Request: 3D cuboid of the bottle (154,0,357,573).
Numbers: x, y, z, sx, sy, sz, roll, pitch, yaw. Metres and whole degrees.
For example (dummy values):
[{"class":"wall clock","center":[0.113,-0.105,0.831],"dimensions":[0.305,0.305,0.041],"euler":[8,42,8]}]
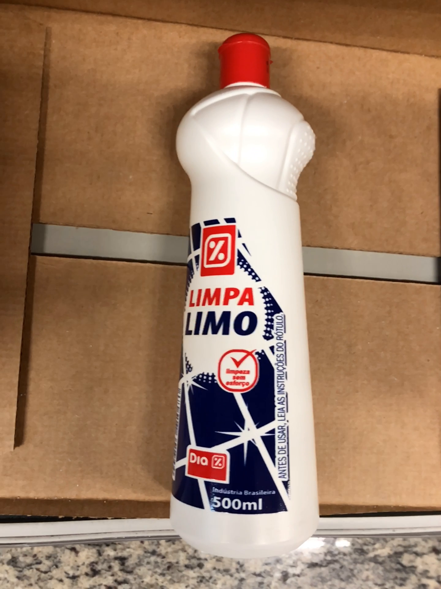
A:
[{"class":"bottle","center":[0.010,-0.022,0.231],"dimensions":[0.080,0.060,0.260],"euler":[0,85,-7]}]
